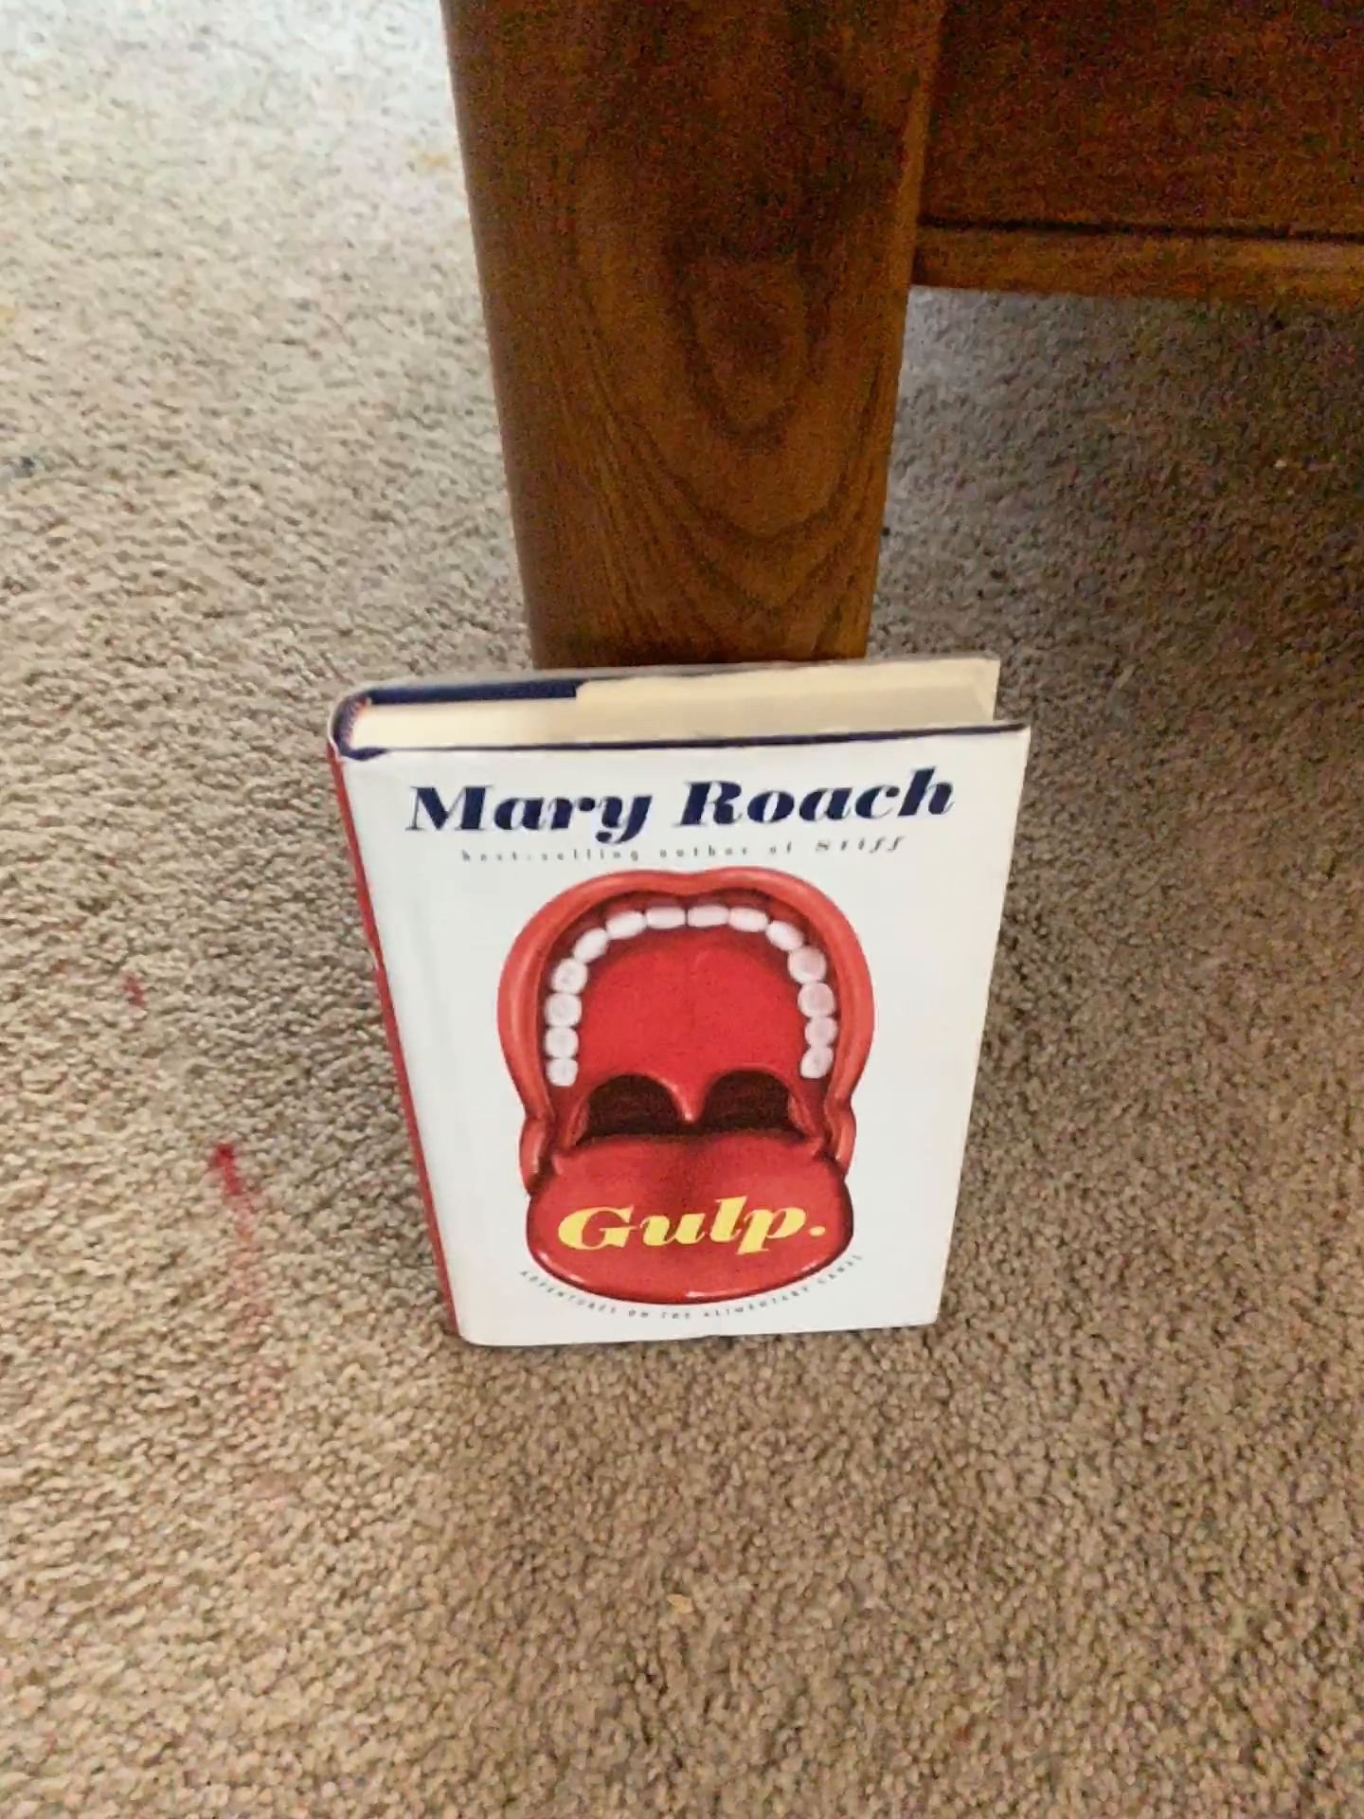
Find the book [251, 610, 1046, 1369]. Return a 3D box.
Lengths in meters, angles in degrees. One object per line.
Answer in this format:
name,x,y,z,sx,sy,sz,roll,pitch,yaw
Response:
book,-0.004,0.037,0.372,0.160,0.229,0.040,-2,40,0
